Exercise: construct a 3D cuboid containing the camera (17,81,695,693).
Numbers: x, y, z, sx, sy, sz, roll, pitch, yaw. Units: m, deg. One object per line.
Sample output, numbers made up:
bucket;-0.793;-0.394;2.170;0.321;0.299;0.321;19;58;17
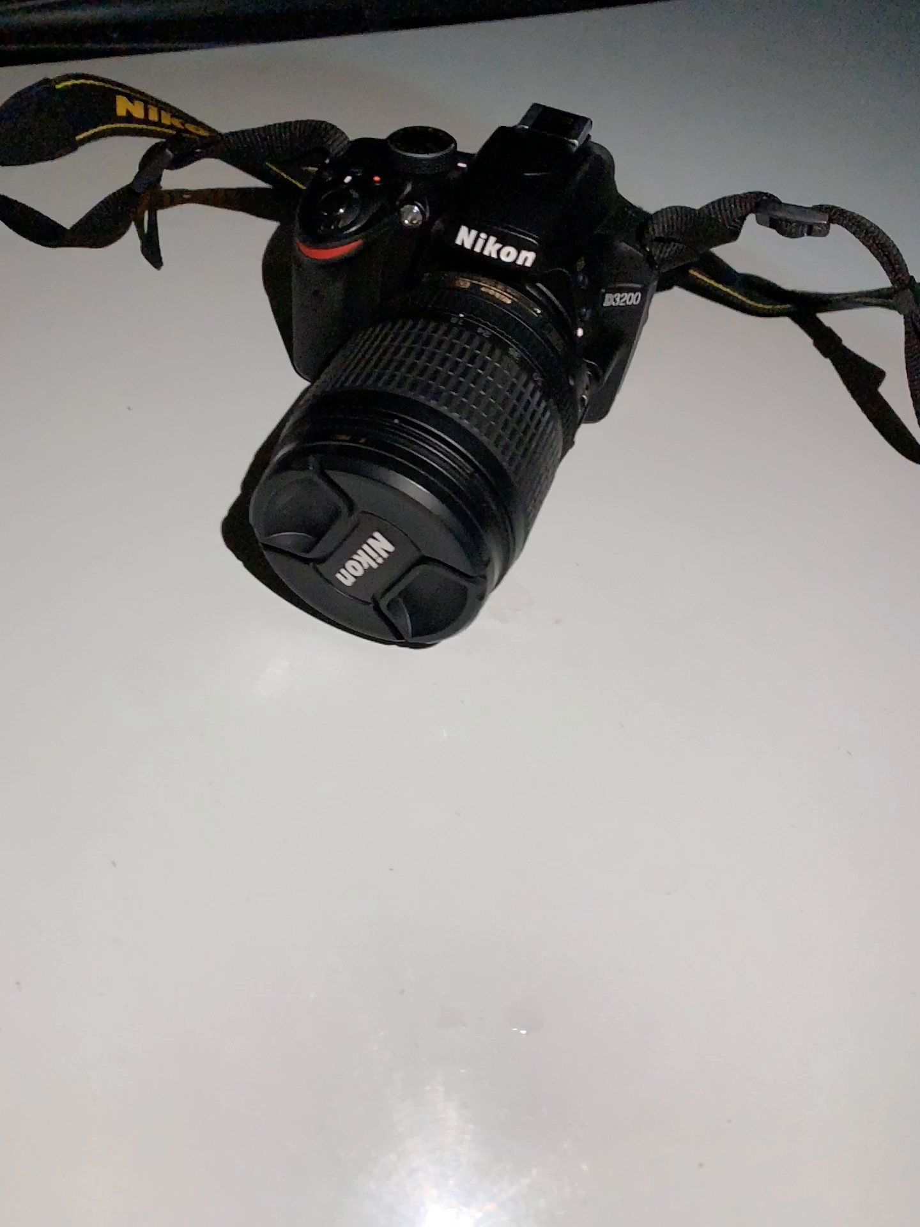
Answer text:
camera;-0.014;-0.094;0.322;0.126;0.099;0.201;17;45;17
